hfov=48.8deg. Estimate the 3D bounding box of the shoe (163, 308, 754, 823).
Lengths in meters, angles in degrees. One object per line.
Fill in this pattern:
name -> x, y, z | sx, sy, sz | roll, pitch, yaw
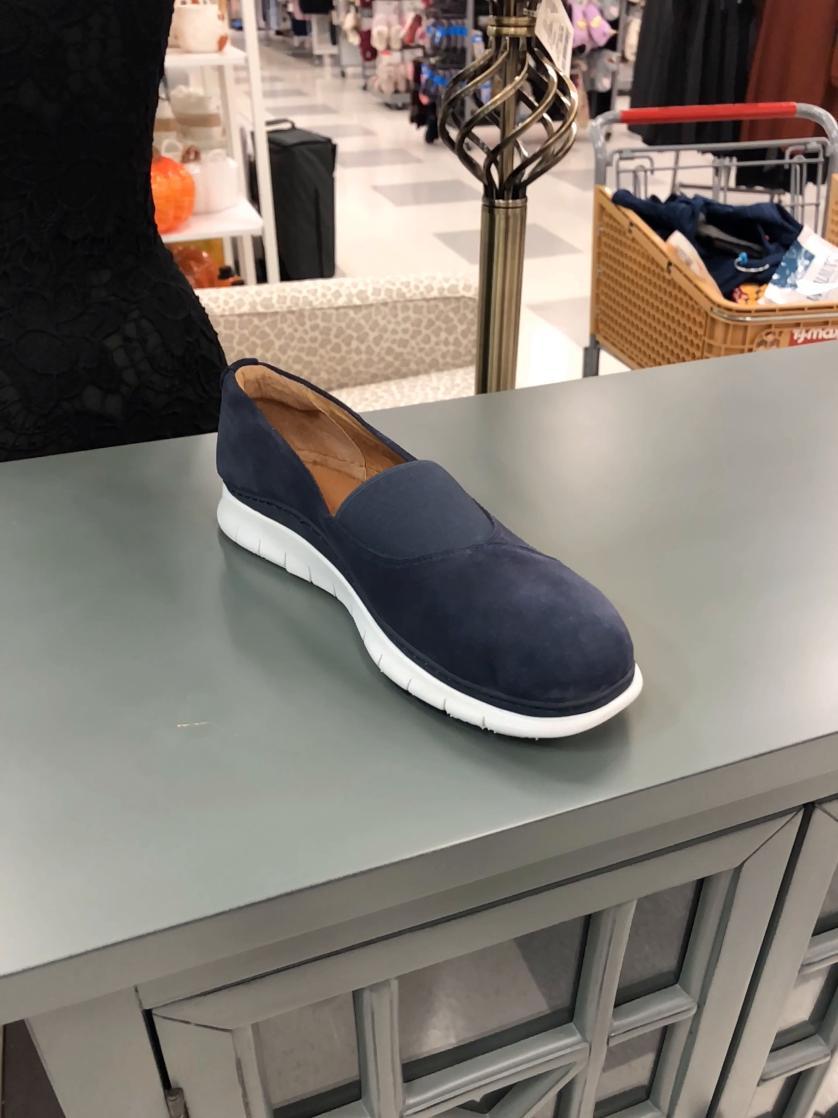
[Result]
shoe -> -0.002, -0.023, 0.429 | 0.110, 0.102, 0.271 | -23, 39, -31
